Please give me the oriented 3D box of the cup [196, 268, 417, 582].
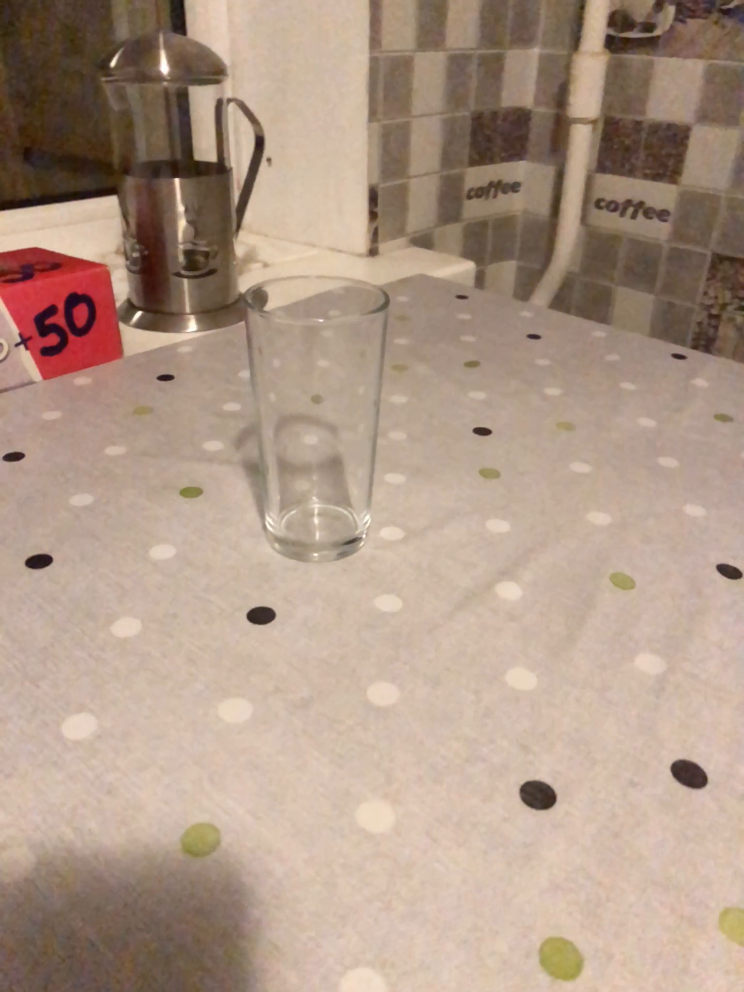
[{"bbox_3d":[-0.030,-0.036,0.388,0.069,0.117,0.068,1,30,-1],"label":"cup"}]
